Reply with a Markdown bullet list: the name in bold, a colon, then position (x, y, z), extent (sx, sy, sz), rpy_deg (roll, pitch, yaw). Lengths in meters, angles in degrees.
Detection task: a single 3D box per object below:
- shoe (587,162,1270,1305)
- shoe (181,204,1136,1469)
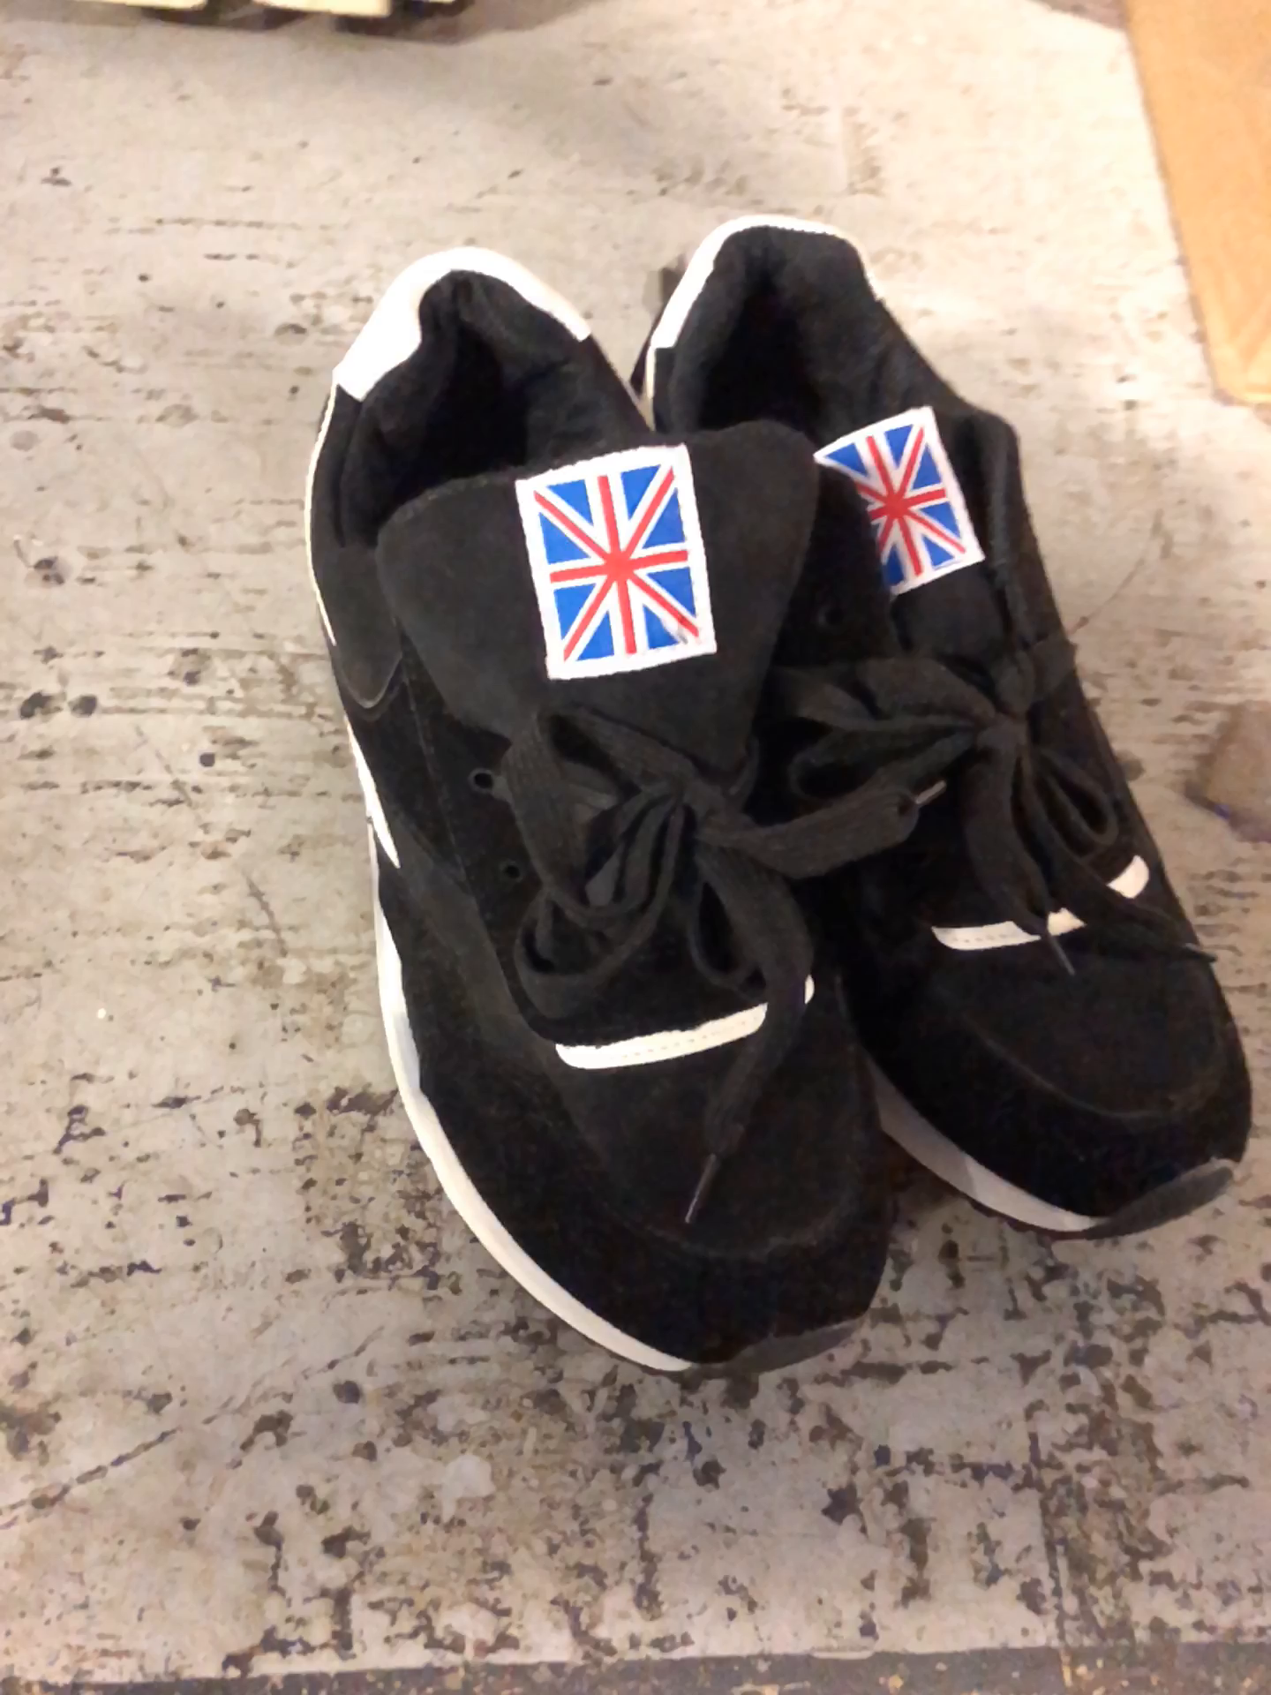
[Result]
- **shoe**: position (0.084, -0.036, 0.343), extent (0.110, 0.109, 0.241), rpy_deg (-15, 64, -15)
- **shoe**: position (-0.015, -0.008, 0.307), extent (0.100, 0.119, 0.231), rpy_deg (-15, 64, -15)
